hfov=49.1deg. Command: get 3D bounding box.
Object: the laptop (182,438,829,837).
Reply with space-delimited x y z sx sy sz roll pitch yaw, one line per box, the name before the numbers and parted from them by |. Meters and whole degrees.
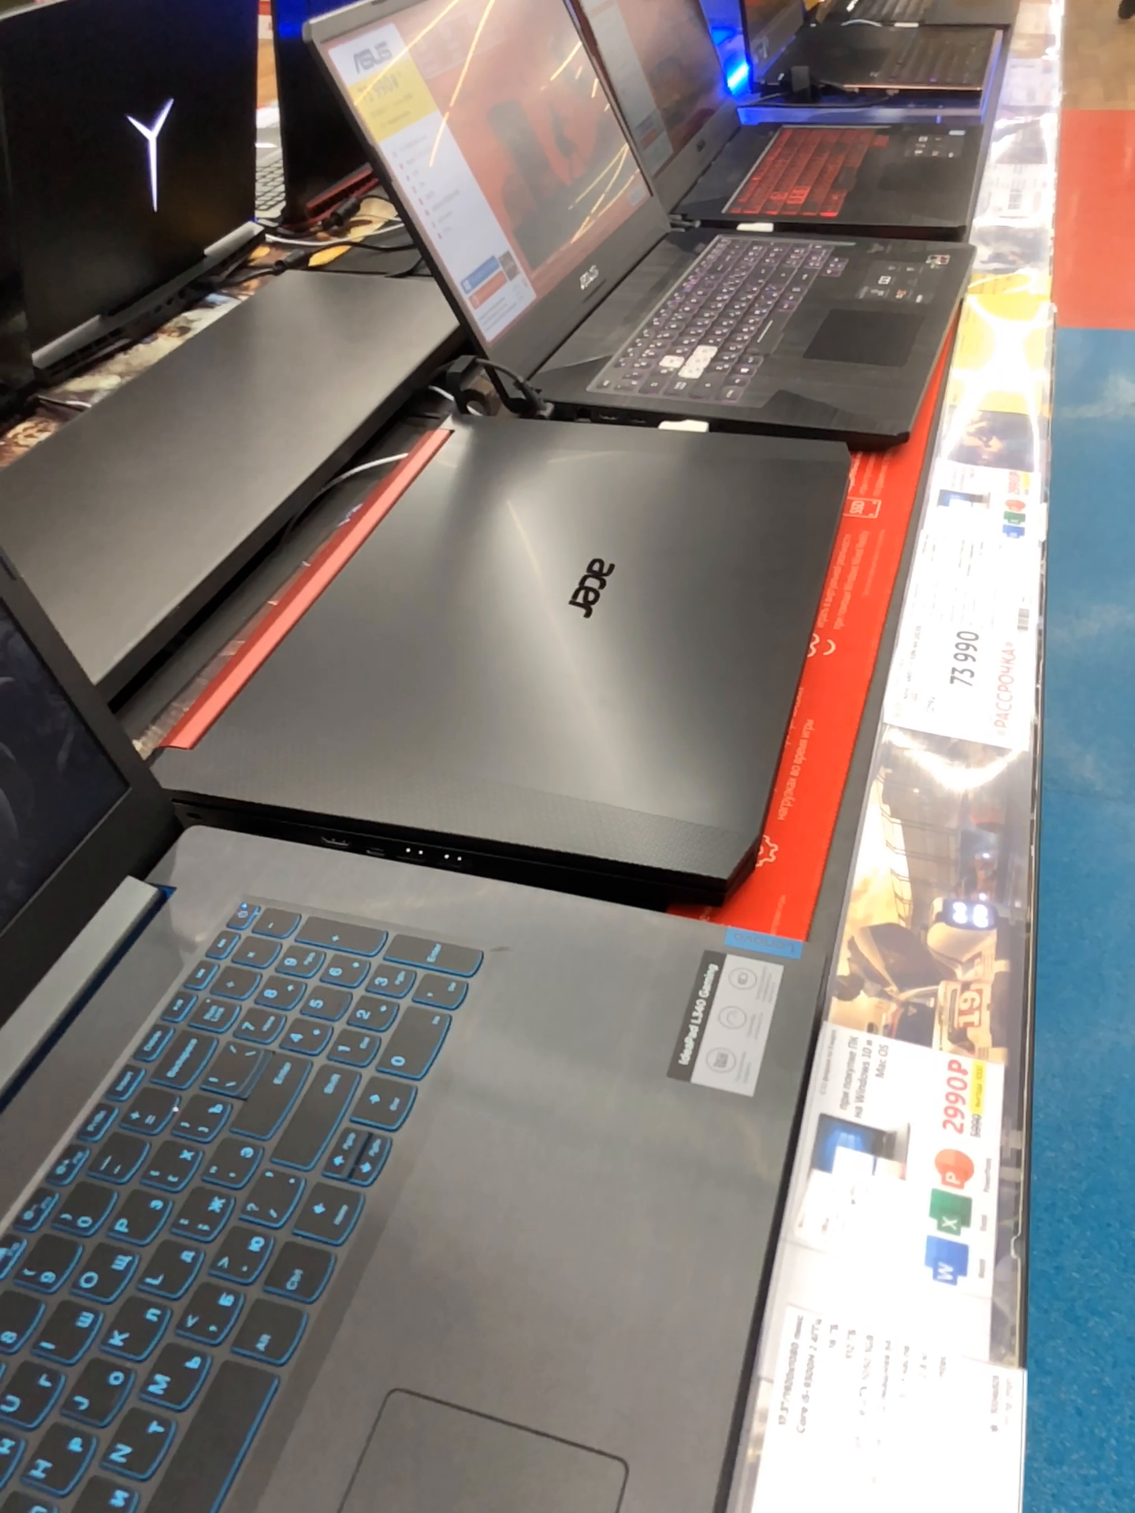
laptop | -0.004 -0.092 0.674 0.255 0.002 0.372 7 38 13
